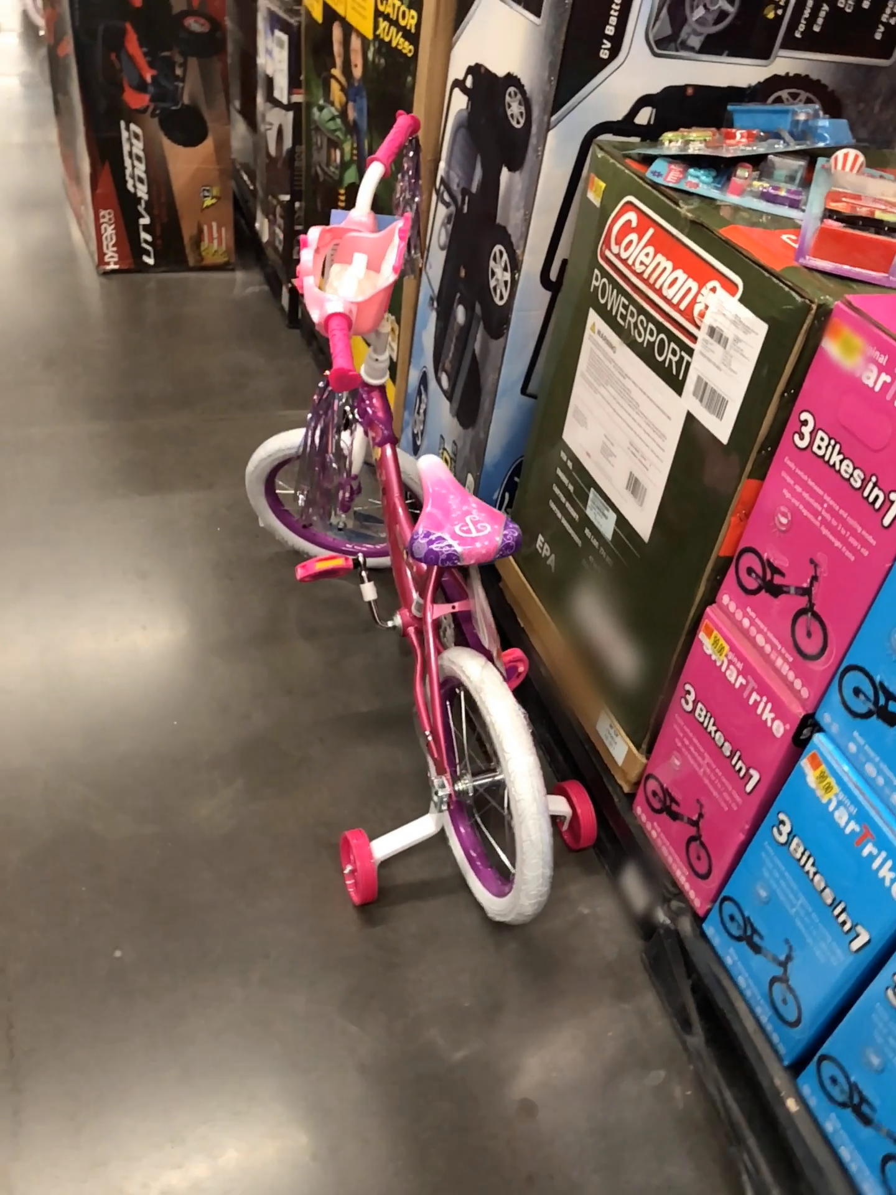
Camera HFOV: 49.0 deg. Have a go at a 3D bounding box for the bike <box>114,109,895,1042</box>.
[{"bbox_3d":[-0.062,-0.098,1.395,0.477,0.854,0.952,-16,45,-28],"label":"bike"}]
